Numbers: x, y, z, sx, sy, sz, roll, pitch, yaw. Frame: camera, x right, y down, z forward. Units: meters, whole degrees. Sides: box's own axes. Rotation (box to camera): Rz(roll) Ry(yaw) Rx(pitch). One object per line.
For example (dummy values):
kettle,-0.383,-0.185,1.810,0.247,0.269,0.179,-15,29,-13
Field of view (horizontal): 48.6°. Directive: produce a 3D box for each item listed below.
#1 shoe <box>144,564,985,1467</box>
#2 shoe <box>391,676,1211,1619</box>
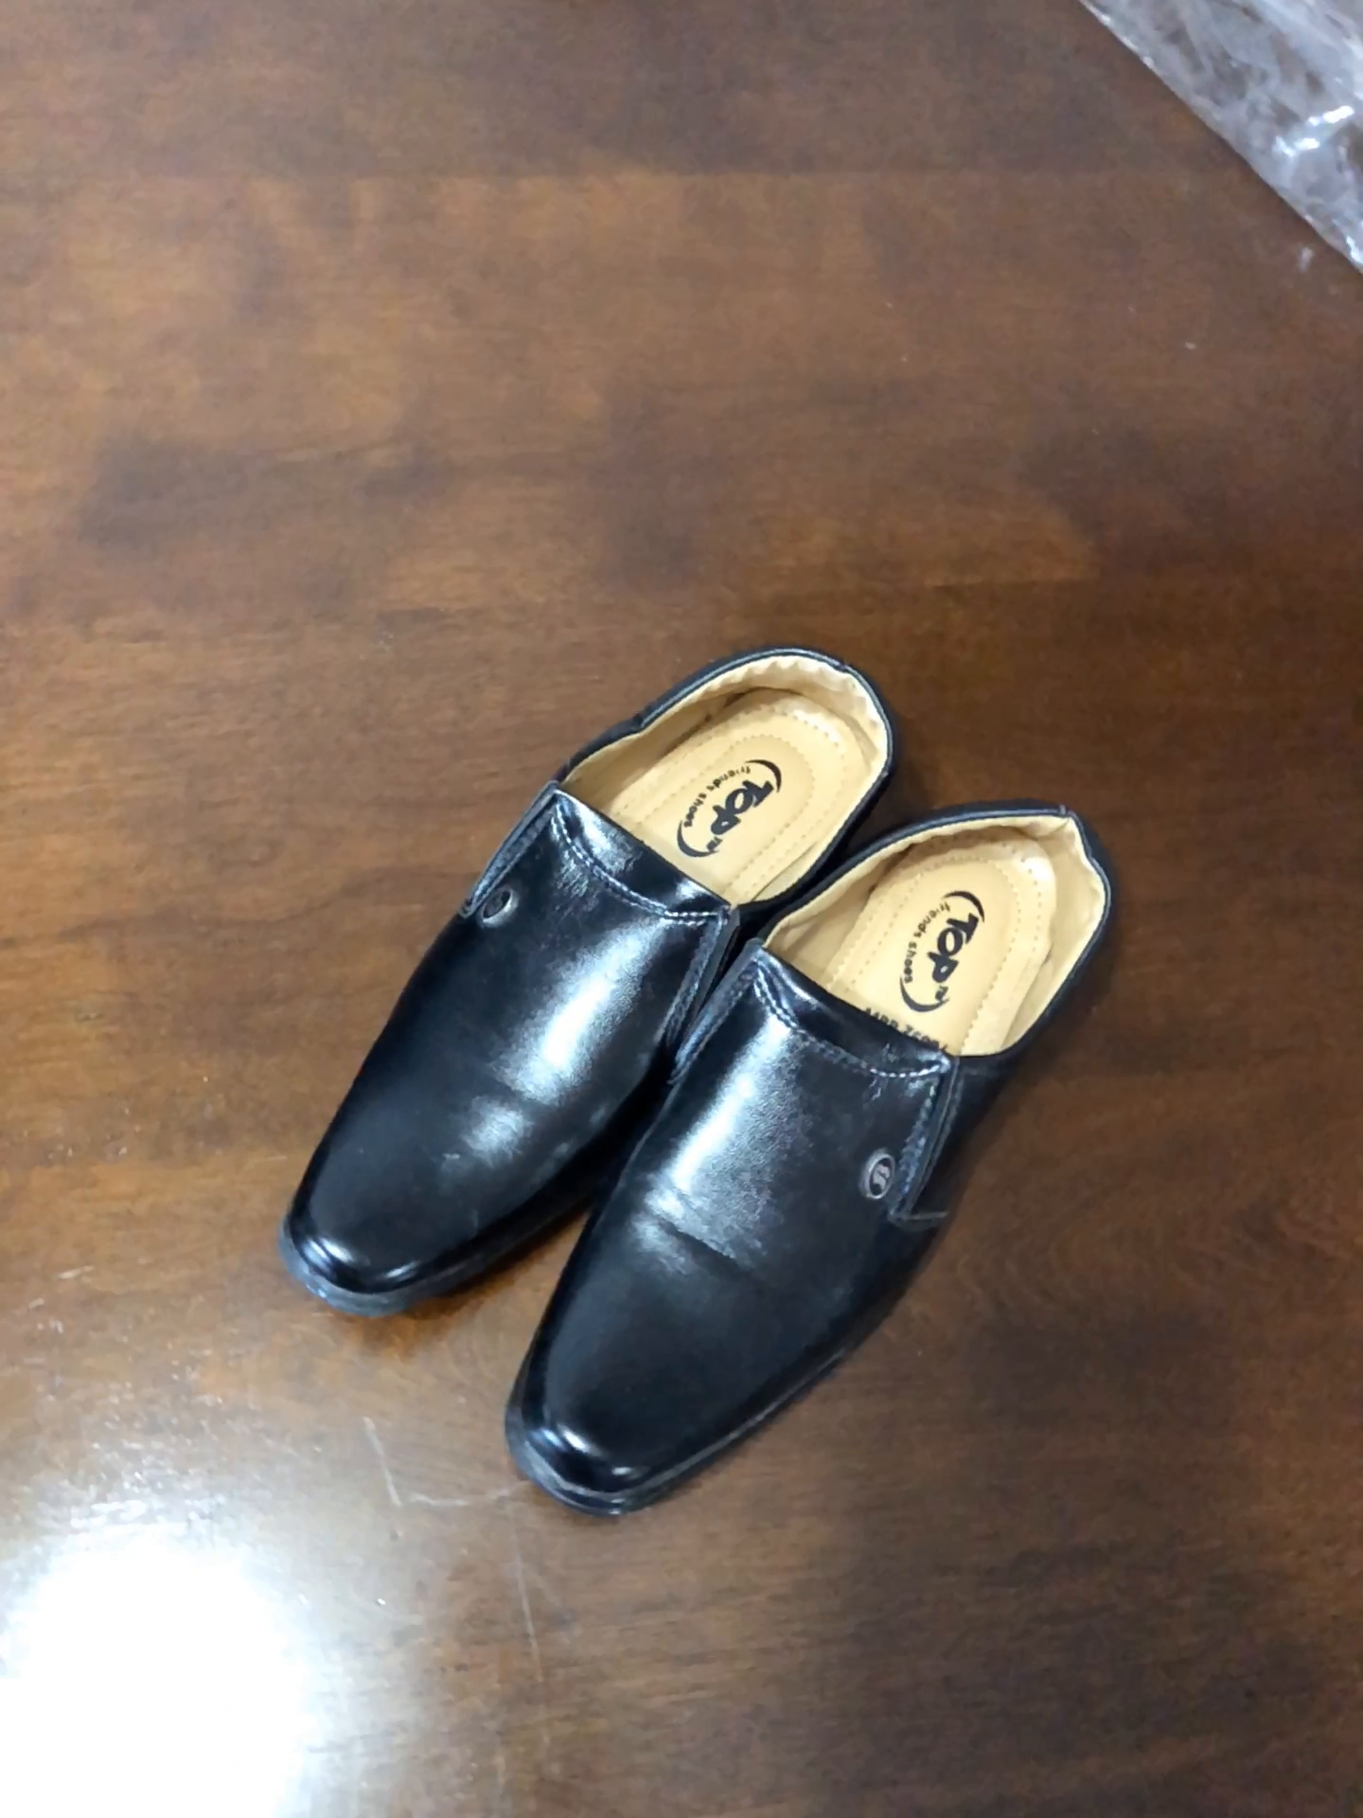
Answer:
shoe,-0.023,0.025,0.419,0.090,0.080,0.230,35,67,10
shoe,0.035,0.061,0.412,0.090,0.090,0.230,35,67,10
